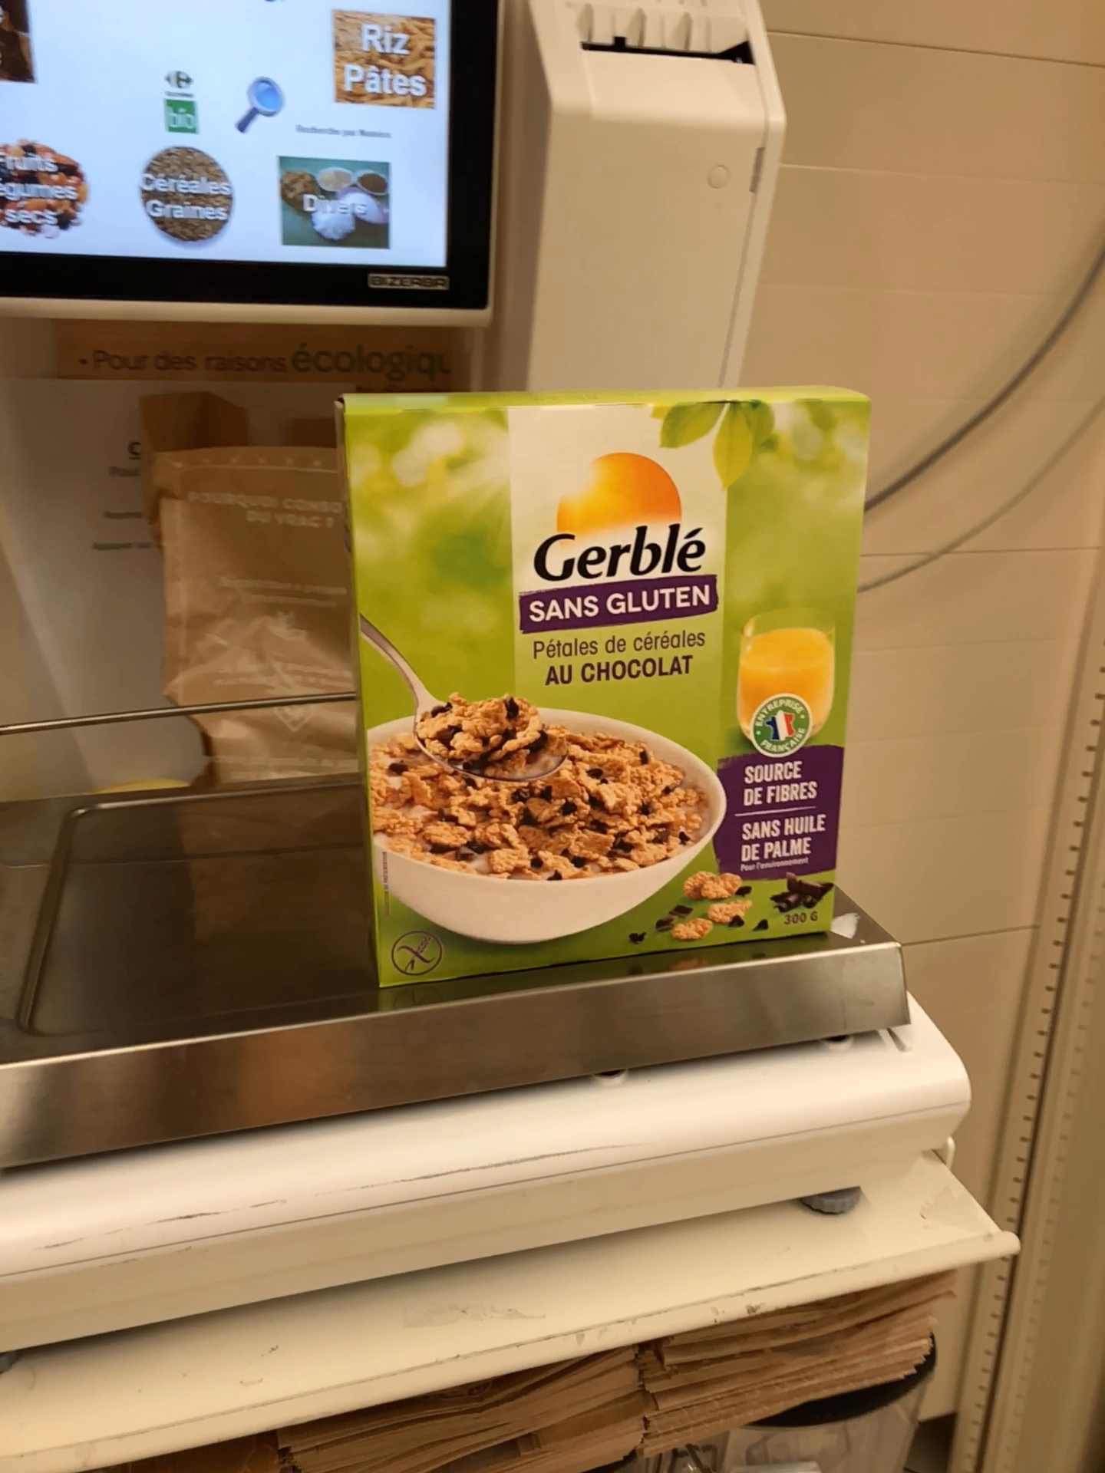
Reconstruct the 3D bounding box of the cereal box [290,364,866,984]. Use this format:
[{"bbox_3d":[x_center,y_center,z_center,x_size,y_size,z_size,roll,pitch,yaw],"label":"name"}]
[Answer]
[{"bbox_3d":[0.009,-0.027,0.478,0.200,0.219,0.060,-5,20,-12],"label":"cereal box"}]
